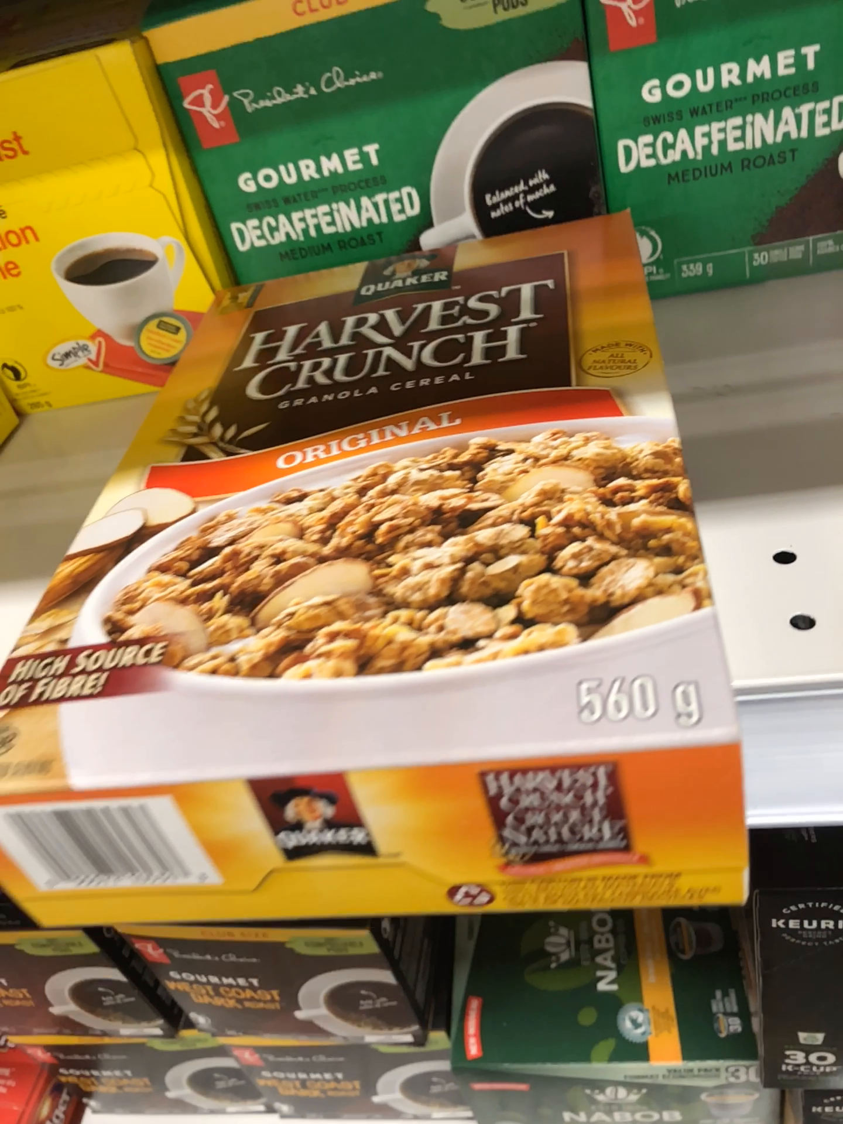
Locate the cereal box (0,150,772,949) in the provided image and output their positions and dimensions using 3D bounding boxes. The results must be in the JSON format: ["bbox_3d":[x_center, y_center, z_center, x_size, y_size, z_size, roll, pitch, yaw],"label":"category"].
[{"bbox_3d":[-0.013,-0.035,0.278,0.170,0.050,0.281,-7,39,13],"label":"cereal box"}]
